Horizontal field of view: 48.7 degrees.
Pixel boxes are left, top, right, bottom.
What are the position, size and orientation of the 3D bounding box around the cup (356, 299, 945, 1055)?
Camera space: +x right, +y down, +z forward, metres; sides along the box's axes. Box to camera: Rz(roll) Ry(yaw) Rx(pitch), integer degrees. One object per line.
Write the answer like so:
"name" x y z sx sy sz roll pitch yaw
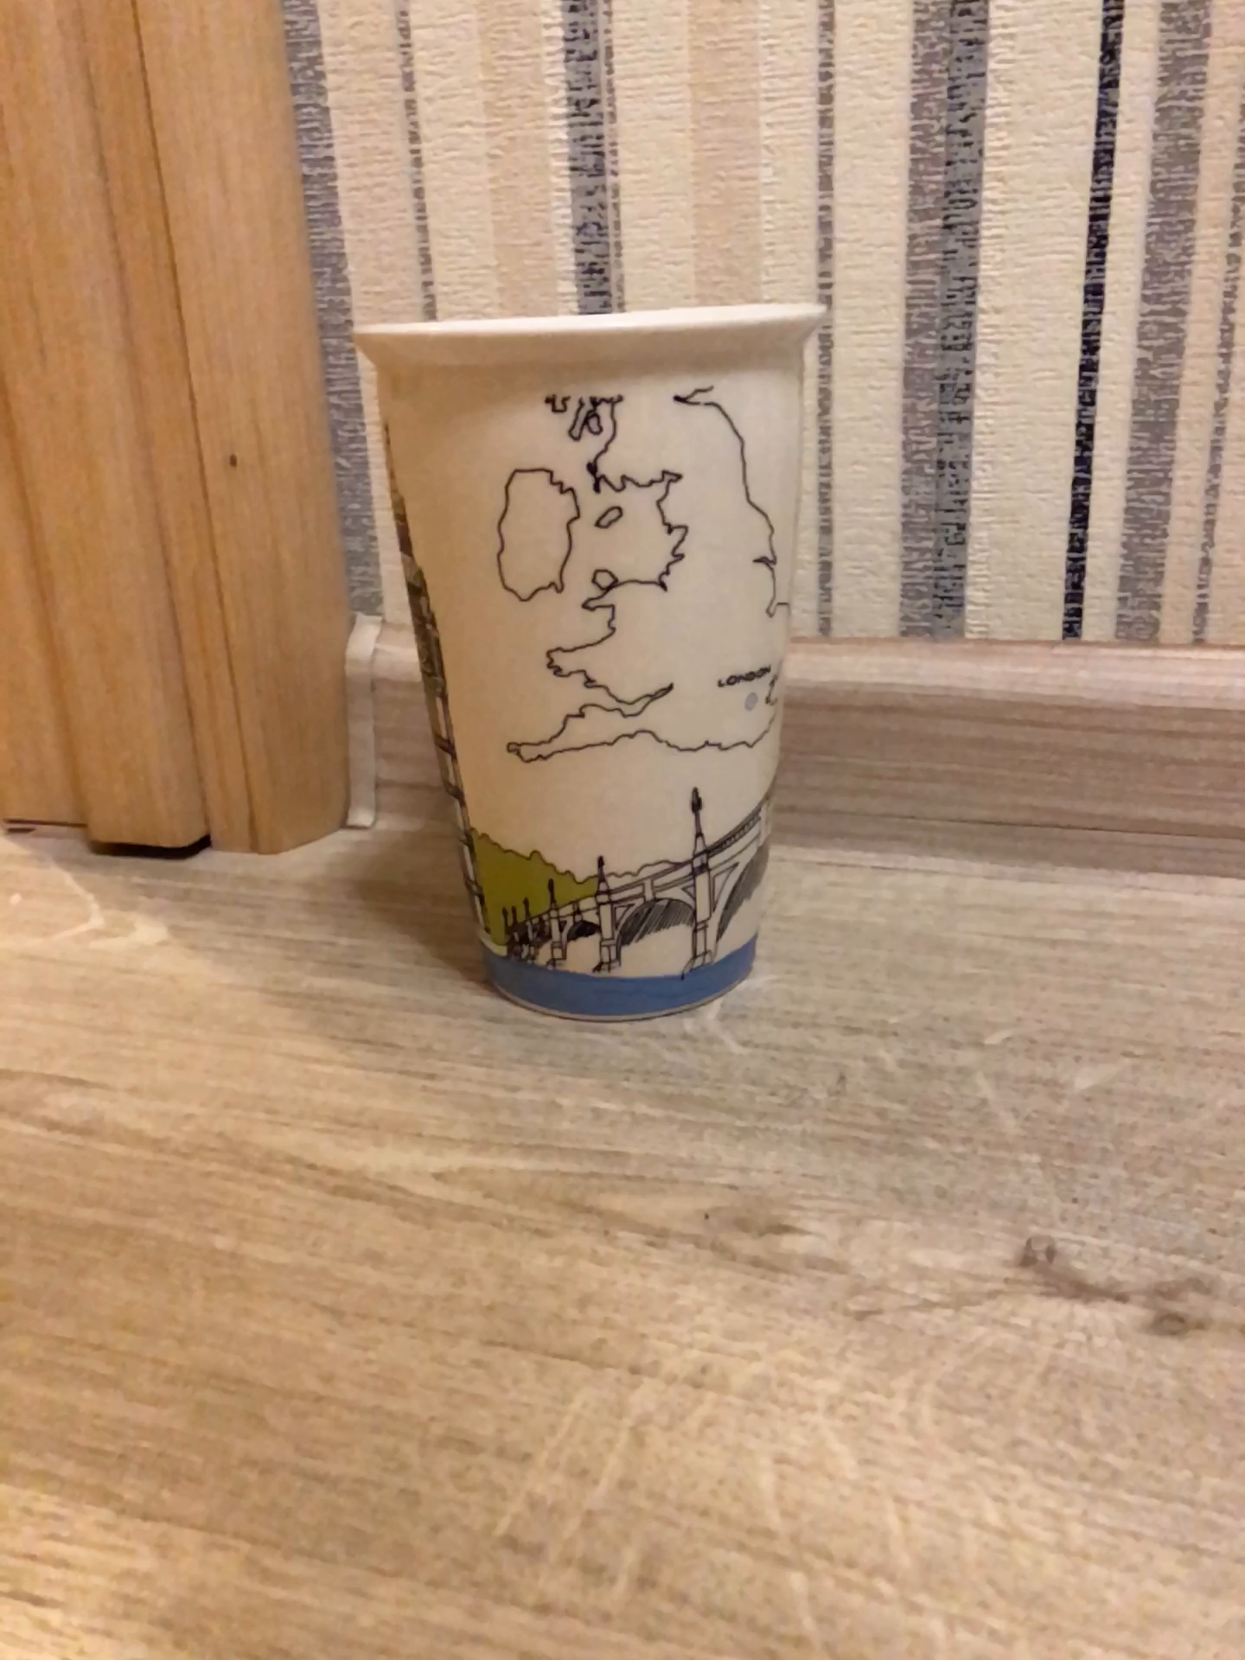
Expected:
"cup" 0.001 -0.041 0.297 0.097 0.133 0.096 -2 20 1
